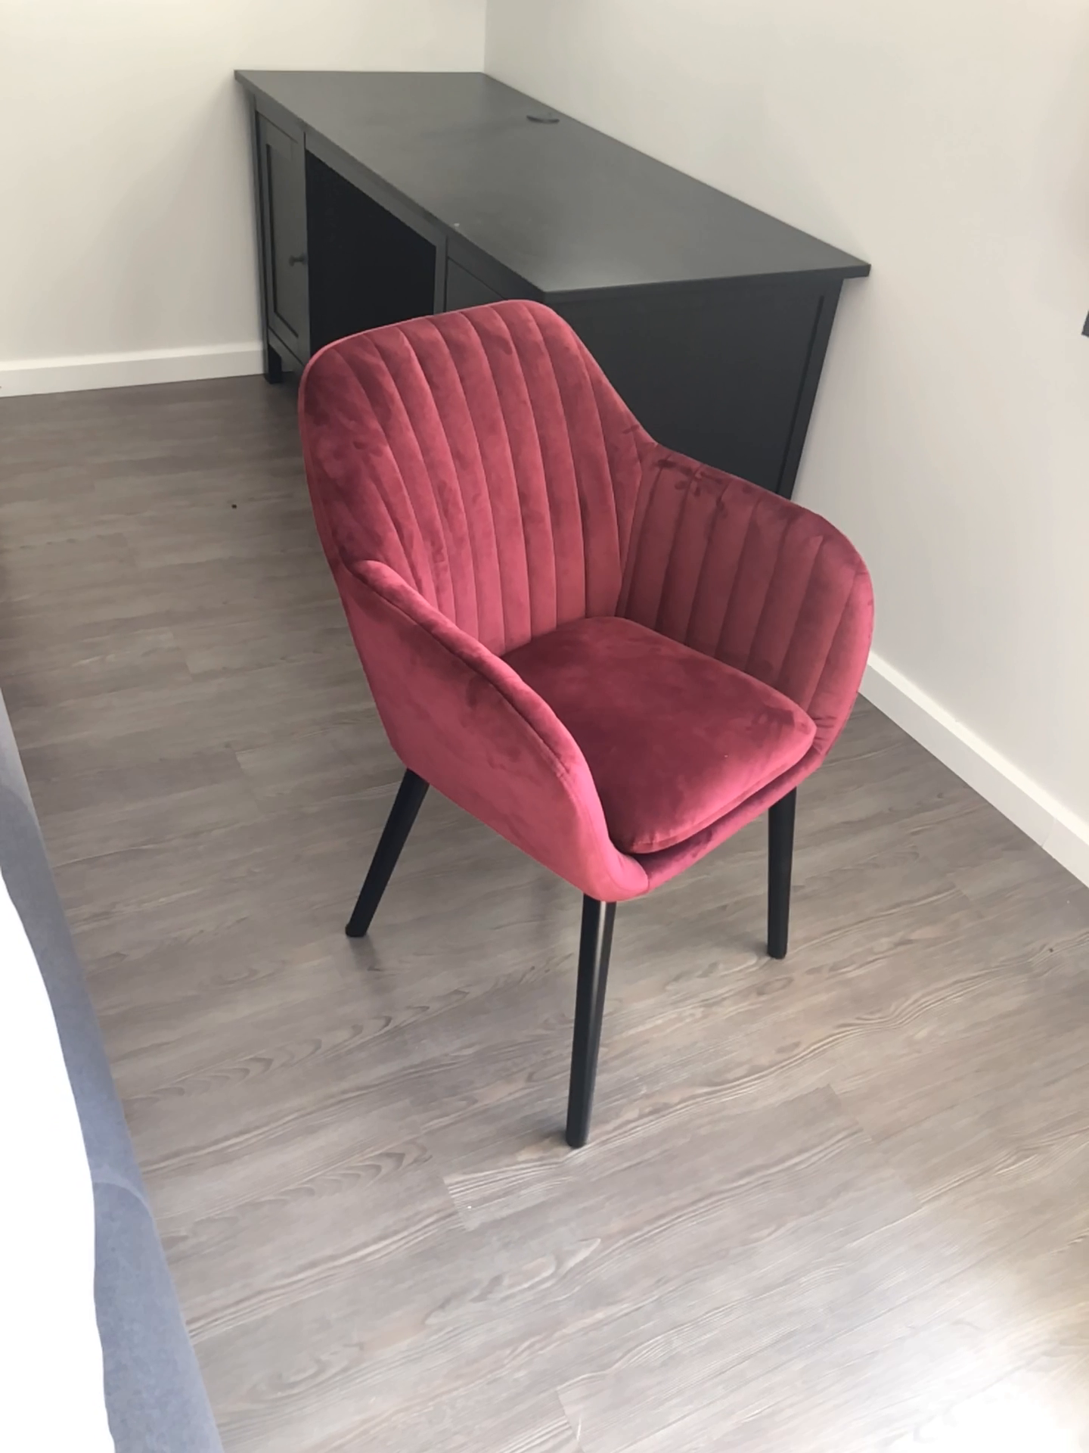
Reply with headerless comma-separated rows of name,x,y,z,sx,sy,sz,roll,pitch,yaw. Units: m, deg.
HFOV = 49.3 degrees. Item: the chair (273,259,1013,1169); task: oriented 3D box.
chair,0.065,-0.038,1.476,0.543,0.835,0.550,-27,48,-36
